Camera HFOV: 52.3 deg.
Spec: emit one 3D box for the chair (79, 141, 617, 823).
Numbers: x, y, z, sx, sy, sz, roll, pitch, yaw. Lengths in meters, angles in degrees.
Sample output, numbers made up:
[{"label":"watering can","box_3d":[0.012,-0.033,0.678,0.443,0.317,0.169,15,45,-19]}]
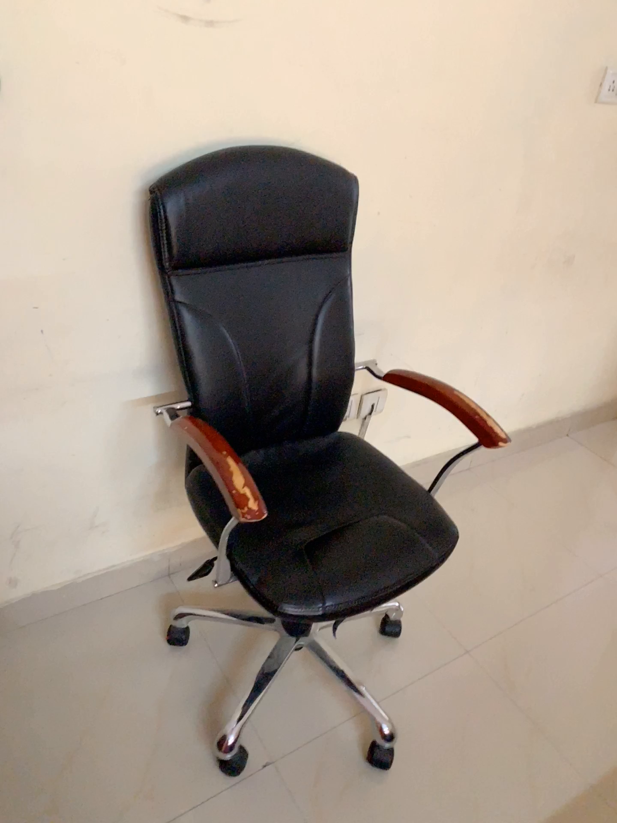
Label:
[{"label":"chair","box_3d":[0.021,0.111,1.293,0.702,1.081,0.754,-12,37,-31]}]
